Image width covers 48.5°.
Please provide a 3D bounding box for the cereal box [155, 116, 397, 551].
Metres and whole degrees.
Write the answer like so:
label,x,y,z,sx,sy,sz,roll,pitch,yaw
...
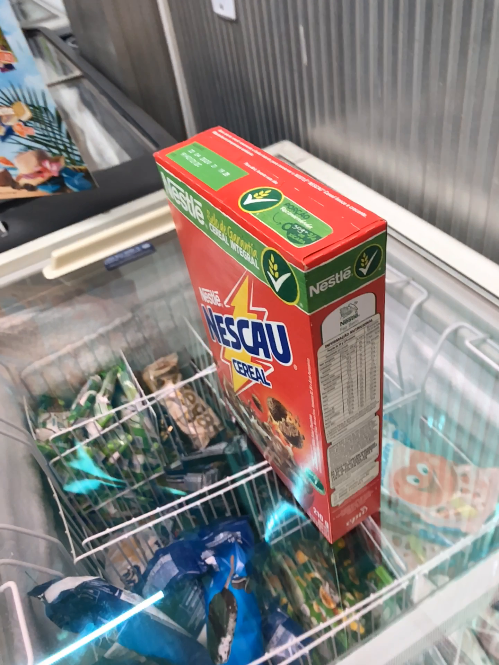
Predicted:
label,x,y,z,sx,sy,sz,roll,pitch,yaw
cereal box,0.022,0.008,0.384,0.050,0.258,0.171,-26,44,-16
